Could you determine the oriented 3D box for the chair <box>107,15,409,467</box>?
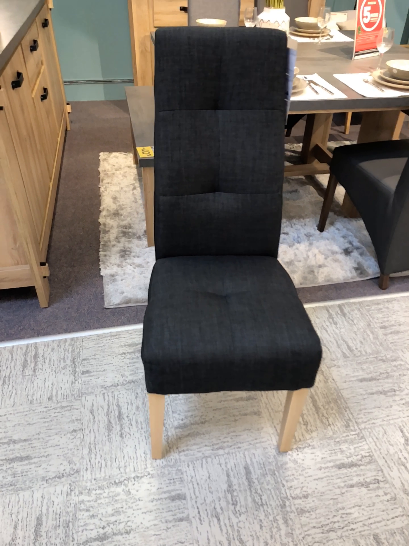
[{"bbox_3d":[0.058,-0.054,1.213,0.480,1.043,0.603,-2,37,-5],"label":"chair"}]
